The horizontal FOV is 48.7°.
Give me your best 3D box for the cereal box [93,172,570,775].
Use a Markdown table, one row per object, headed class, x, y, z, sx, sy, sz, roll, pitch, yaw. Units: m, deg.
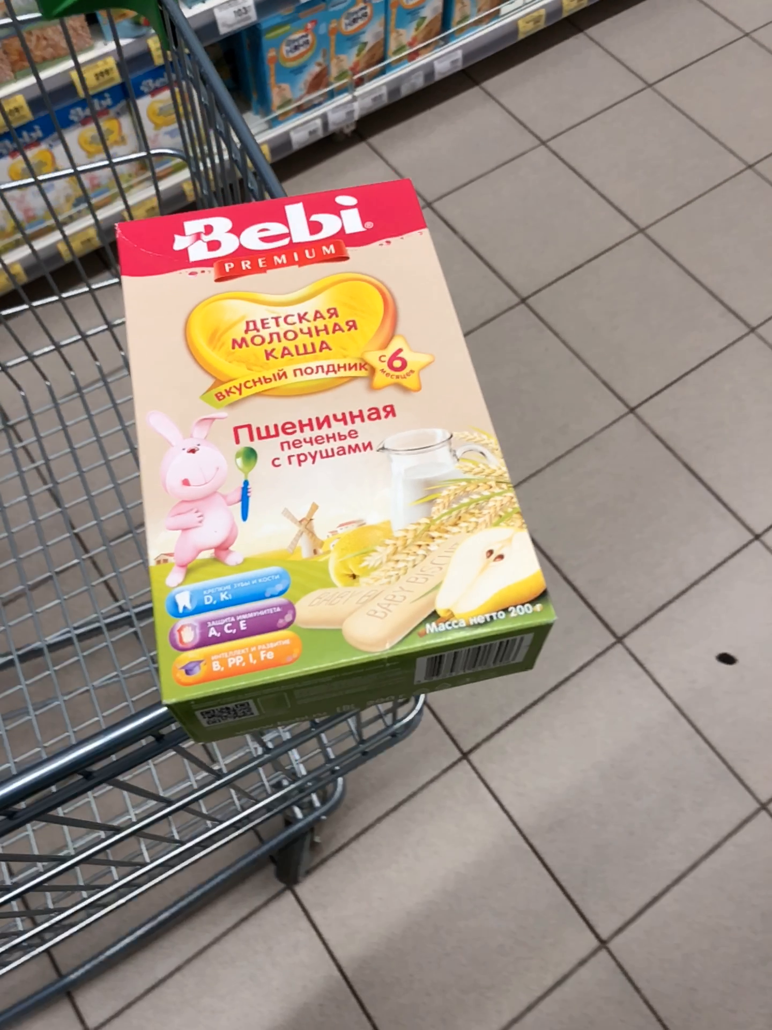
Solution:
| class | x | y | z | sx | sy | sz | roll | pitch | yaw |
| --- | --- | --- | --- | --- | --- | --- | --- | --- | --- |
| cereal box | -0.031 | -0.028 | 0.320 | 0.130 | 0.050 | 0.211 | -11 | 62 | -5 |
